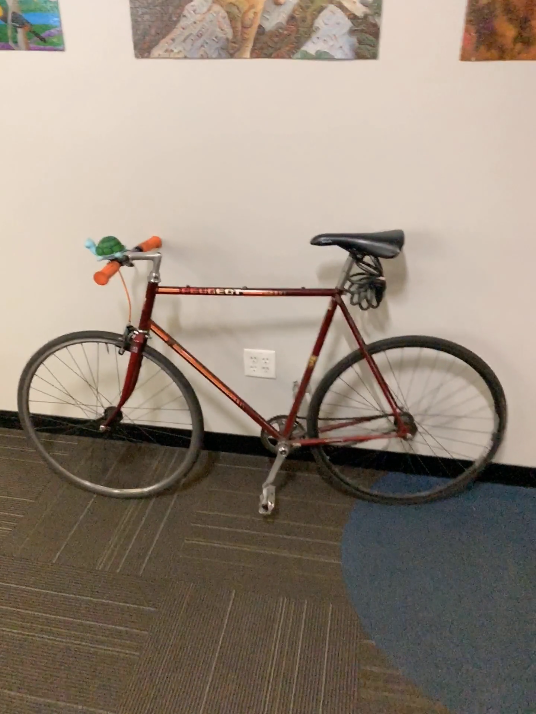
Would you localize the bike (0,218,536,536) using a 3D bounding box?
[{"bbox_3d":[-0.025,0.060,1.851,1.626,0.909,0.451,2,29,3],"label":"bike"}]
